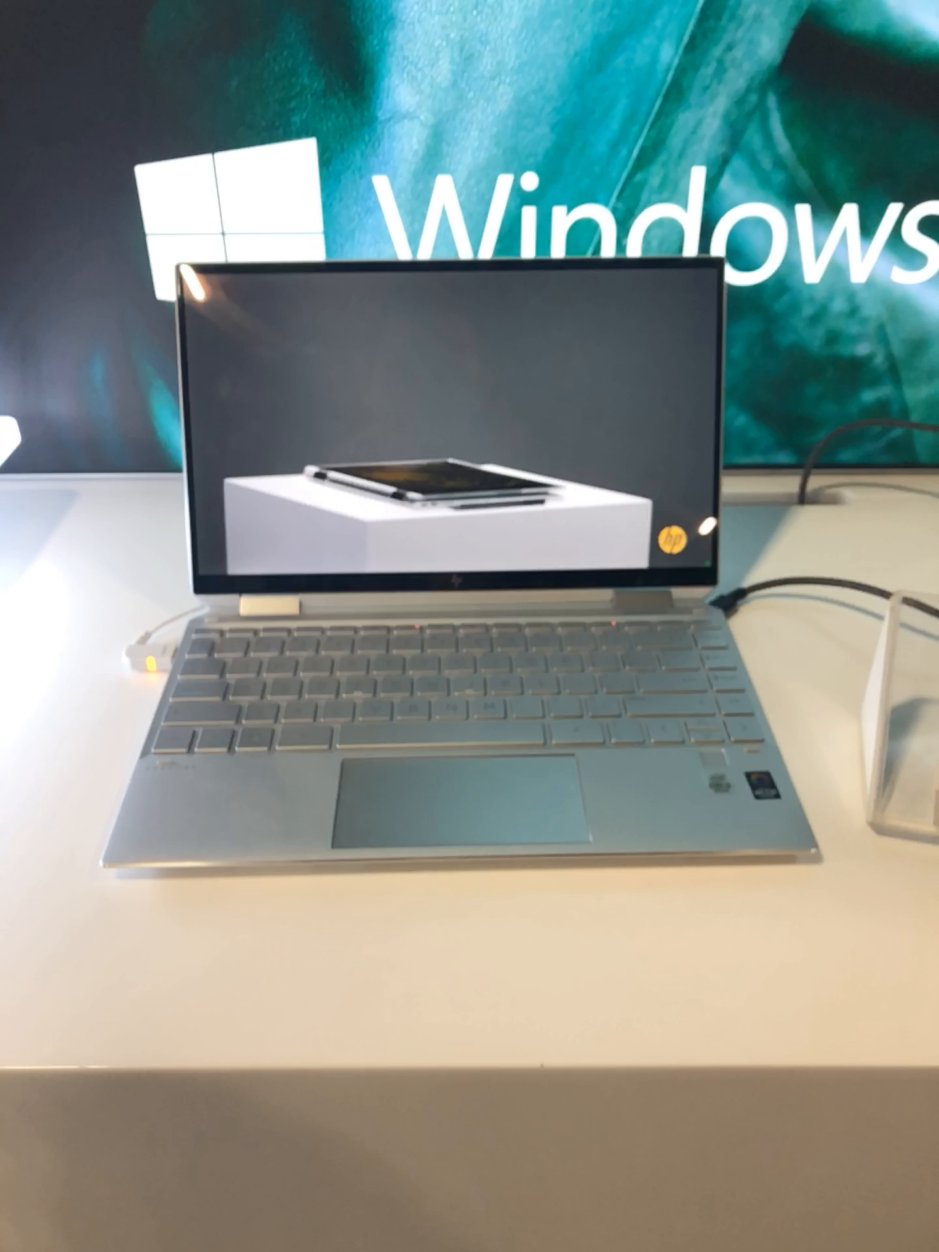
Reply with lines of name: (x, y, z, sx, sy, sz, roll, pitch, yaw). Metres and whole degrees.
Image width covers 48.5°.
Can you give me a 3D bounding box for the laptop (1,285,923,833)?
laptop: (-0.004, -0.045, 0.482, 0.281, 0.194, 0.241, 0, 27, -2)
